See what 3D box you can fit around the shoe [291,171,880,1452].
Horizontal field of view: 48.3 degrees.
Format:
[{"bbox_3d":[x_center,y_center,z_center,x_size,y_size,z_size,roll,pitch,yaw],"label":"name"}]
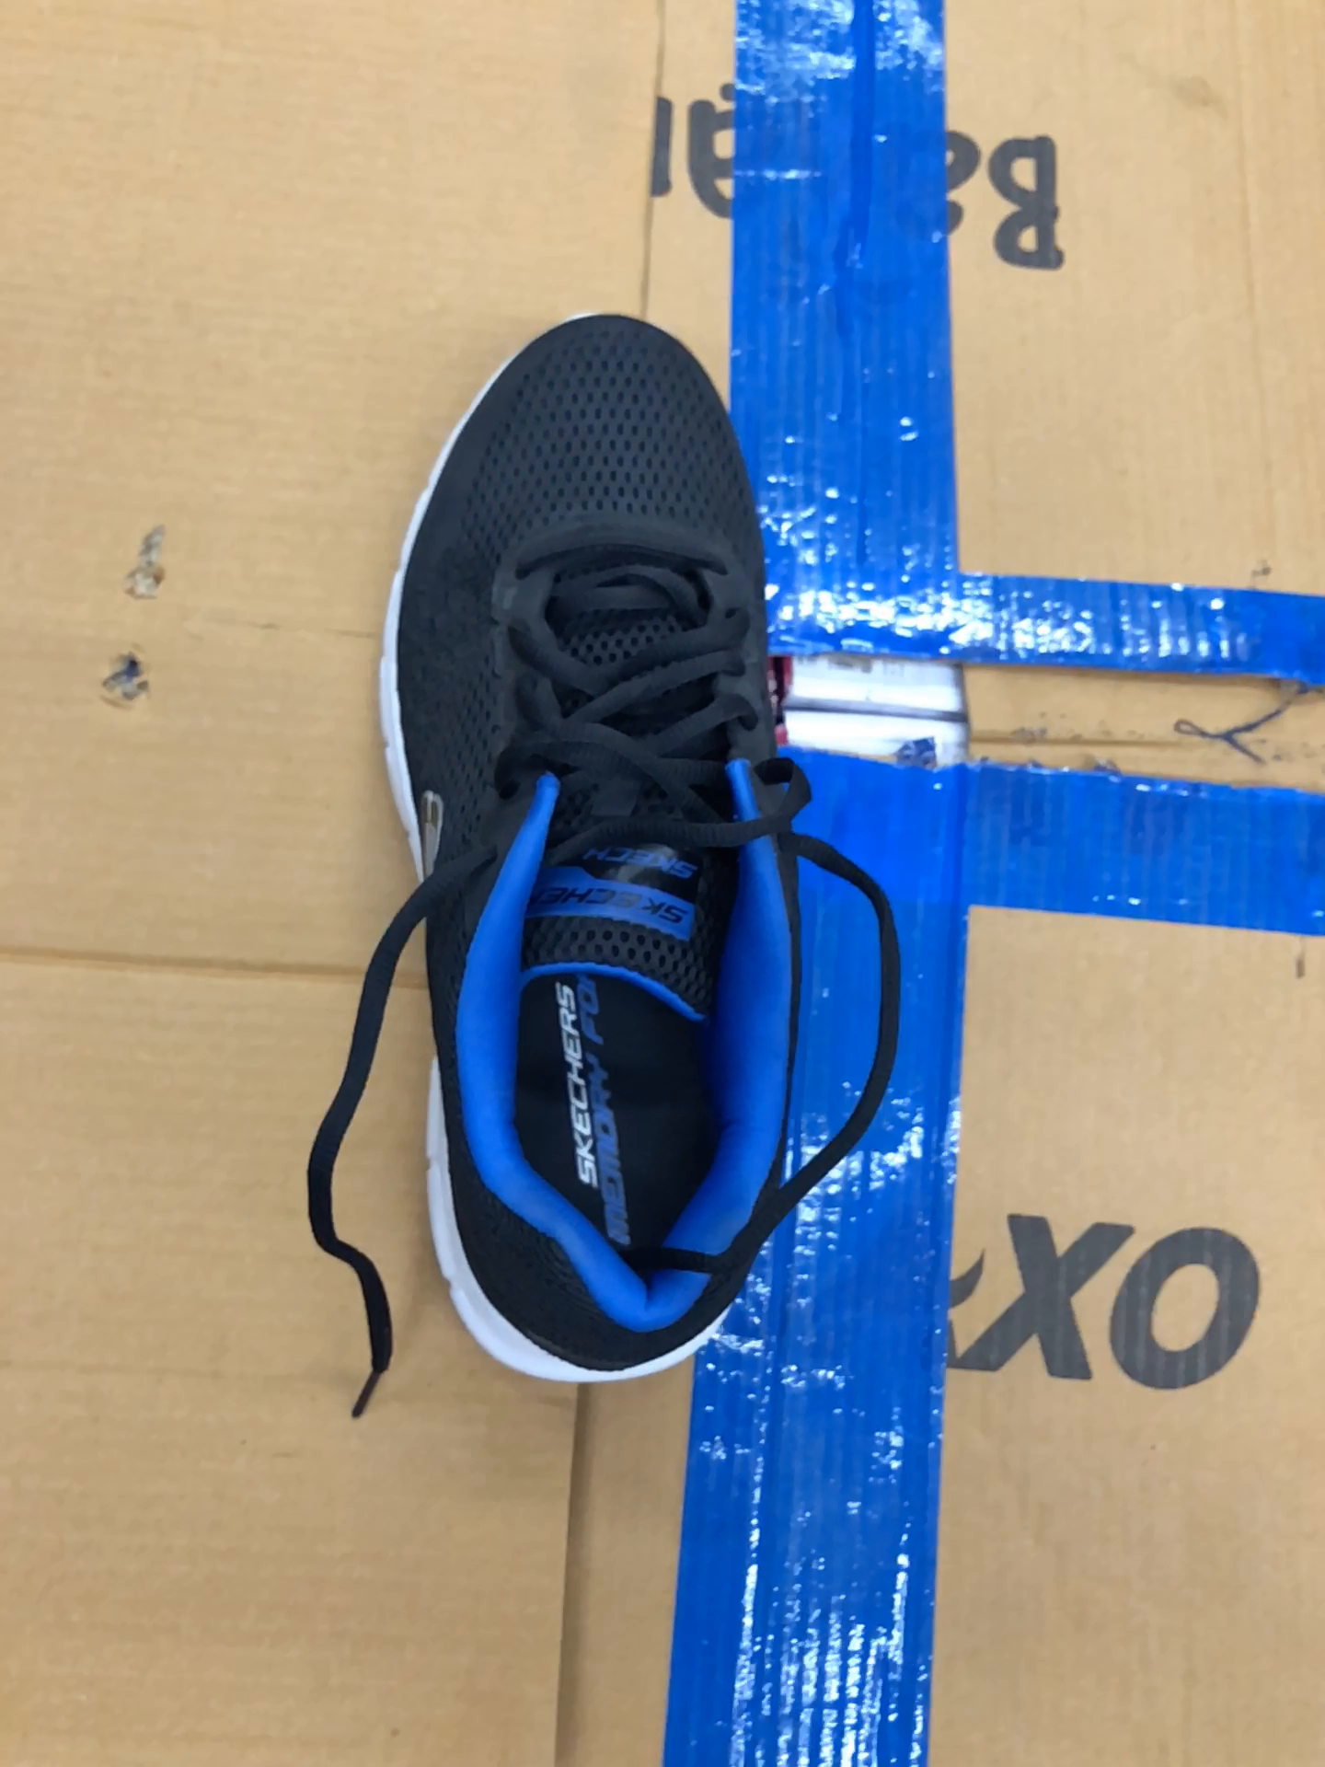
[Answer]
[{"bbox_3d":[-0.018,-0.016,0.366,0.114,0.106,0.278,1,78,-4],"label":"shoe"}]
